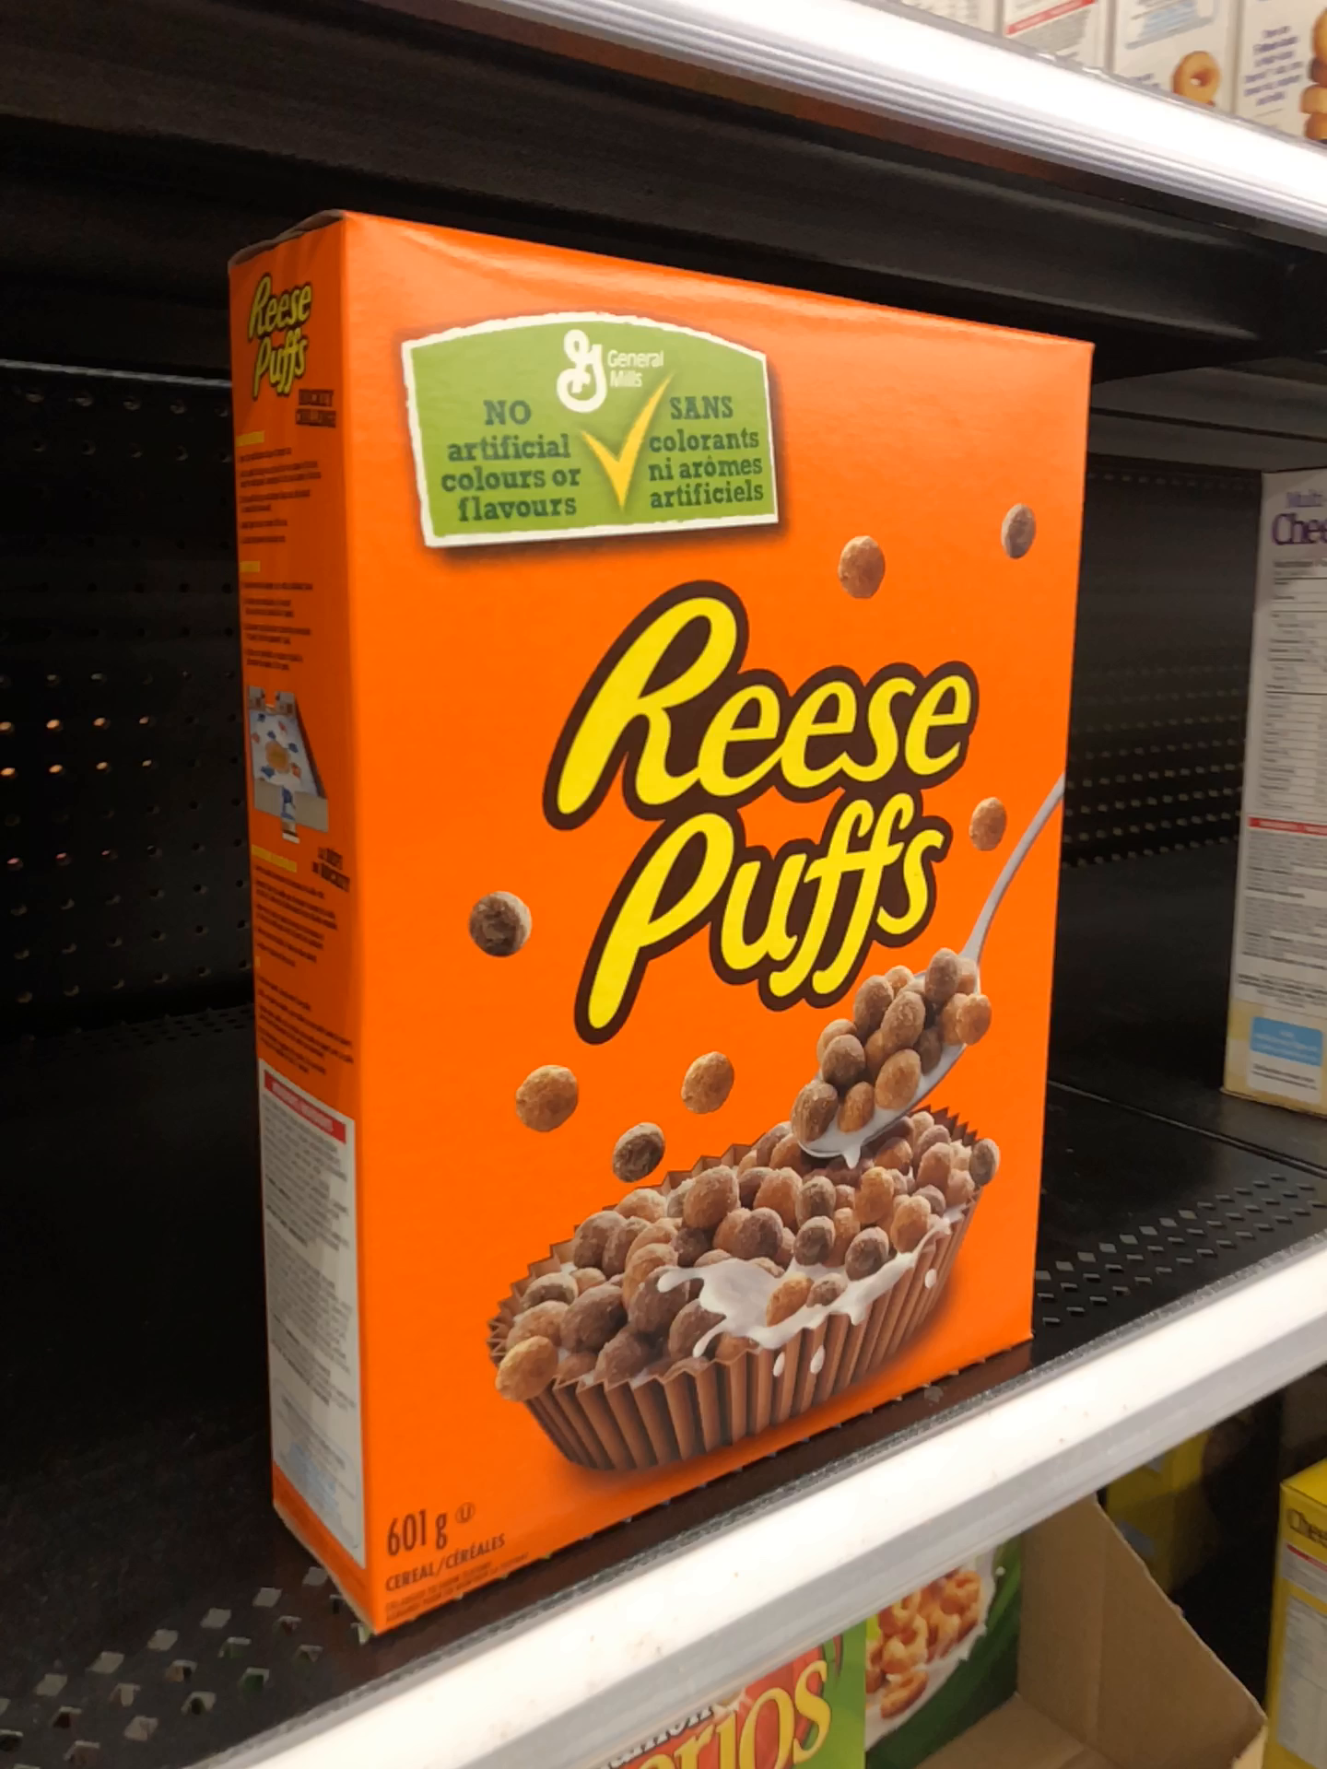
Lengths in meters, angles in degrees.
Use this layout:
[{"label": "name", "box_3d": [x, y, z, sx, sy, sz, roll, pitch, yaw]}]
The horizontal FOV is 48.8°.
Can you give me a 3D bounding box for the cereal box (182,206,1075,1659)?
[{"label": "cereal box", "box_3d": [0.004, 0.005, 0.414, 0.240, 0.319, 0.070, -8, 13, -37]}]
